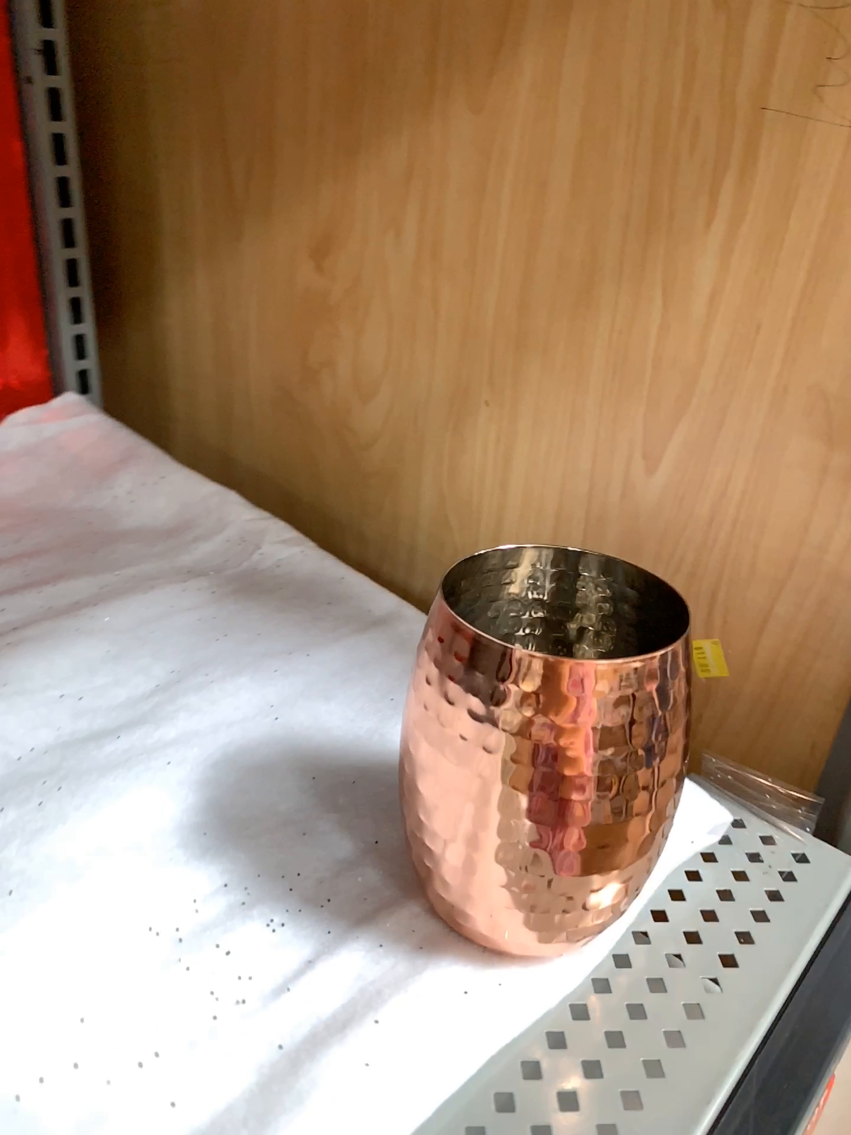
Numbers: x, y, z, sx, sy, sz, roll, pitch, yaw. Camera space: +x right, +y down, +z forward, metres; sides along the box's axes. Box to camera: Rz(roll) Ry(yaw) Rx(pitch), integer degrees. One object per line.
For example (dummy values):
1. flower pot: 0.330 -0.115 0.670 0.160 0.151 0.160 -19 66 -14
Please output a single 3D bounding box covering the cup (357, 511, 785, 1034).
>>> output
1. cup: 0.038 0.054 0.263 0.078 0.104 0.080 4 28 -2
